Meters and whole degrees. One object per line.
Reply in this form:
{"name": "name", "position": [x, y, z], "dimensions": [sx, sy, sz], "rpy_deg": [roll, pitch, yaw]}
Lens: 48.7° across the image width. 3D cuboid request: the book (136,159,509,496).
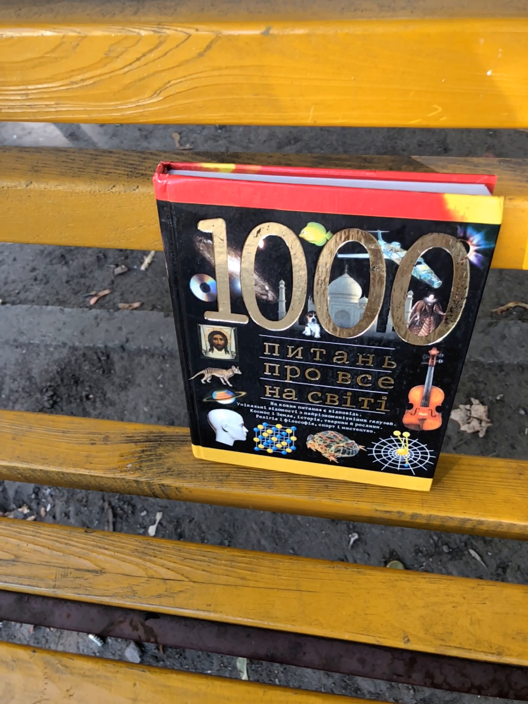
{"name": "book", "position": [0.028, -0.004, 0.343], "dimensions": [0.172, 0.201, 0.032], "rpy_deg": [6, 39, 10]}
